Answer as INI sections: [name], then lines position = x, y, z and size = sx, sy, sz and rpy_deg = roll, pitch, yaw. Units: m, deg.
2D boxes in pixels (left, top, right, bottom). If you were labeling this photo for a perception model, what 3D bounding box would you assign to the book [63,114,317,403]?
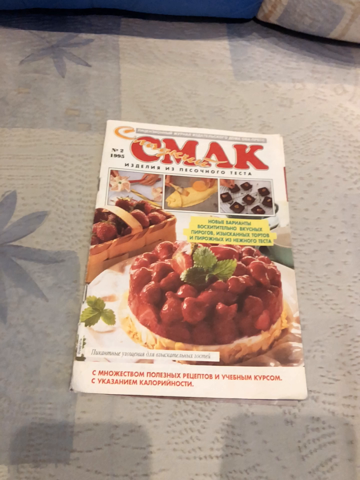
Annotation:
[book]
position = 0.011, 0.004, 0.333
size = 0.177, 0.020, 0.241
rpy_deg = 3, 66, -3
